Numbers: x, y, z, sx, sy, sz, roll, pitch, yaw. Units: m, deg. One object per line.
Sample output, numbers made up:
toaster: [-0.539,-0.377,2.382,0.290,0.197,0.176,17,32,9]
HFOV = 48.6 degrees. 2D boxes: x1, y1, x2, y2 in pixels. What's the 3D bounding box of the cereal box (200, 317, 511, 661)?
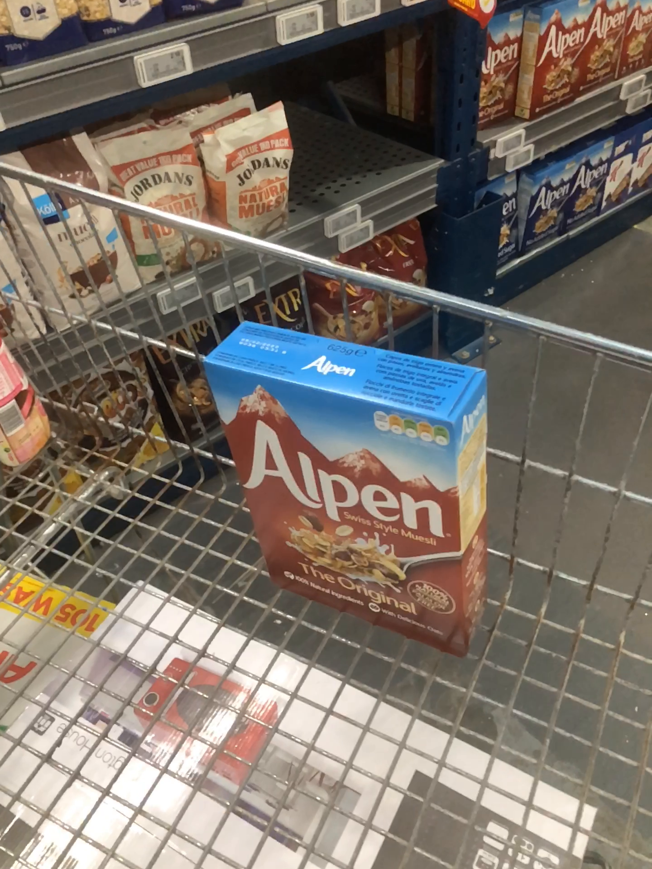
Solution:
cereal box: [0.026,0.042,0.507,0.180,0.219,0.060,16,47,25]
